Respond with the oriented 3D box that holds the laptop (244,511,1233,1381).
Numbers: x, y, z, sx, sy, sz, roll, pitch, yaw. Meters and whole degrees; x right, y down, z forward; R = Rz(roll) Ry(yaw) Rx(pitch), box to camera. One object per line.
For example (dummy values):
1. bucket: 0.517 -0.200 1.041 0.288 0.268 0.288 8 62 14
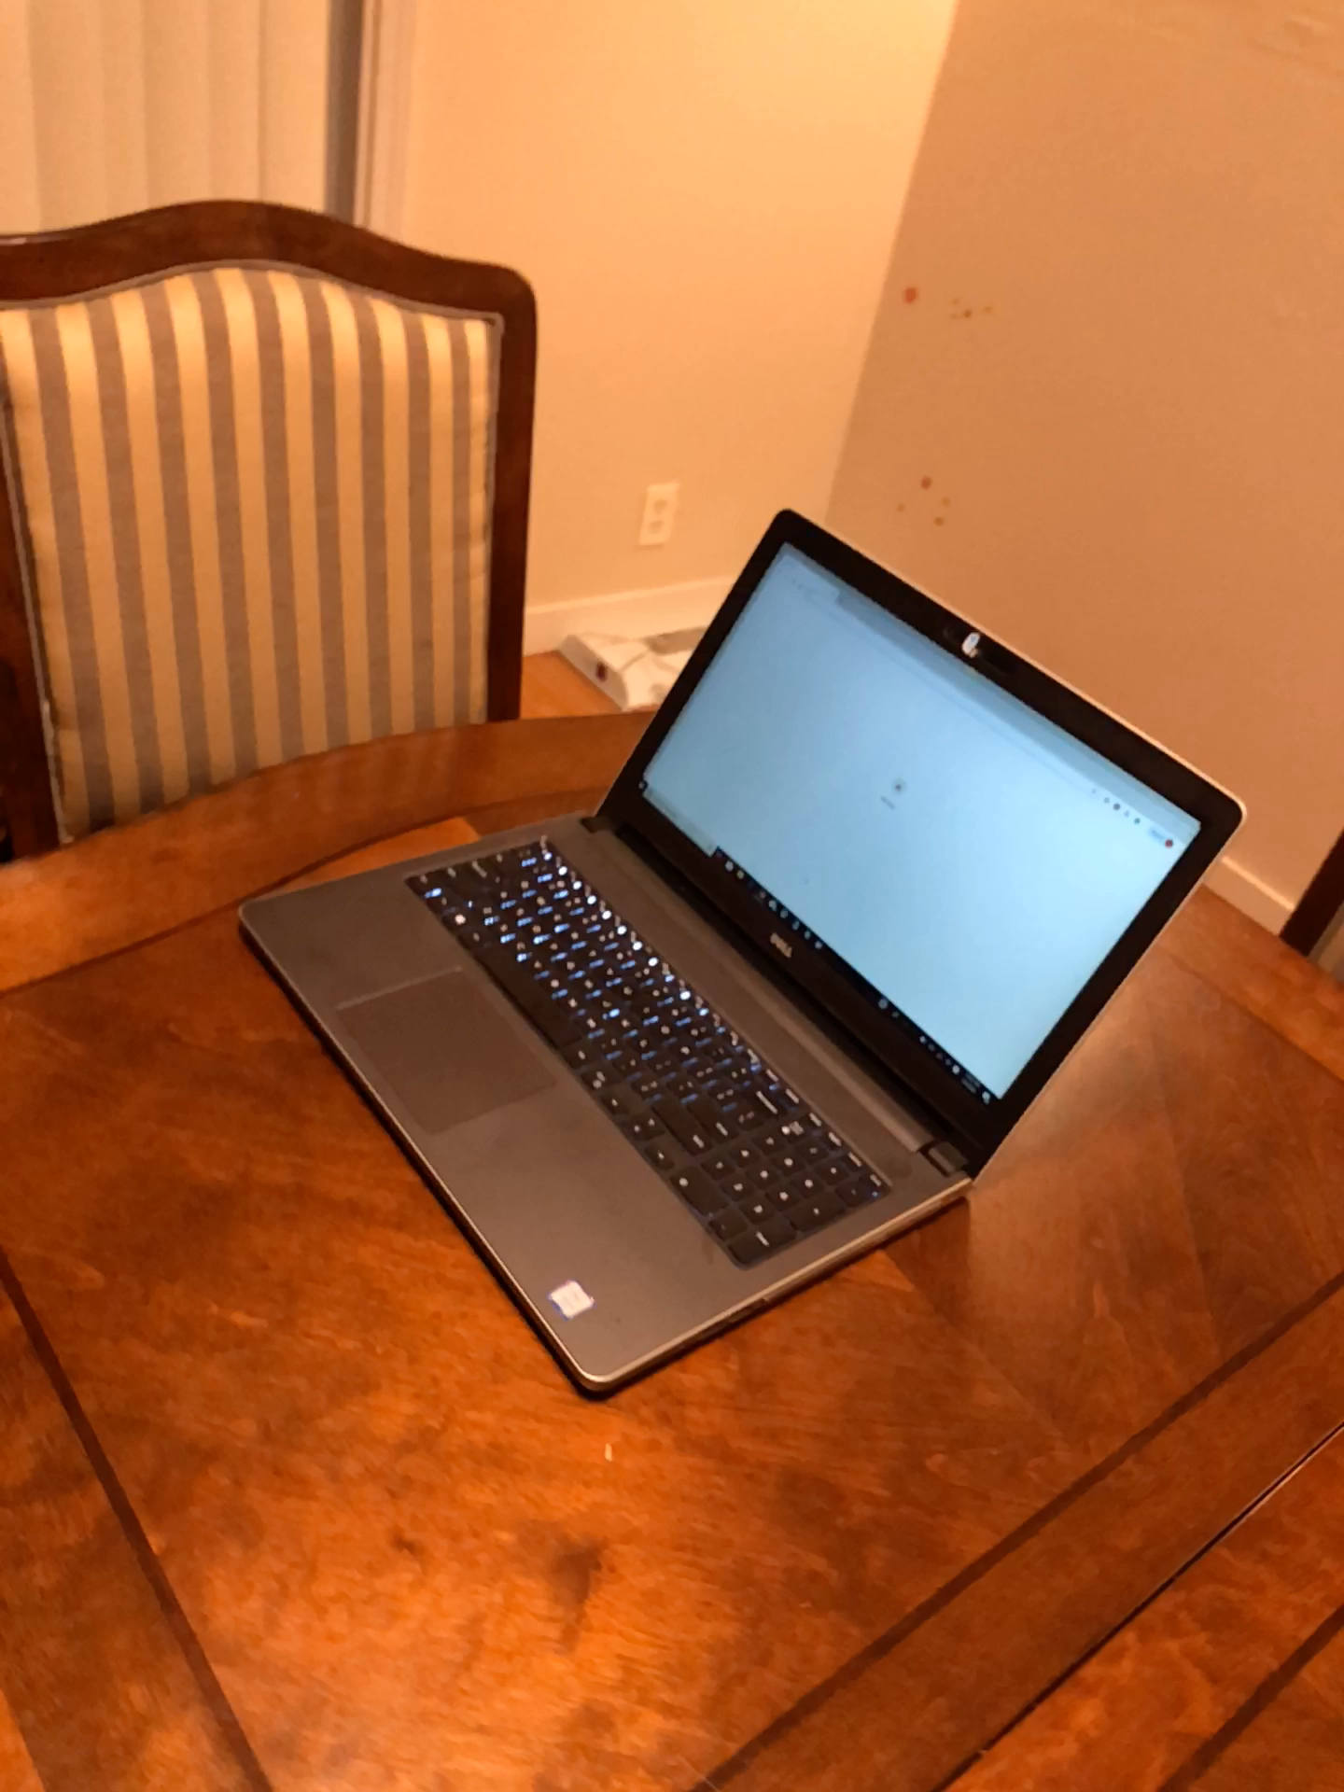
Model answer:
1. laptop: 0.013 -0.016 0.809 0.360 0.212 0.371 -17 45 -34
